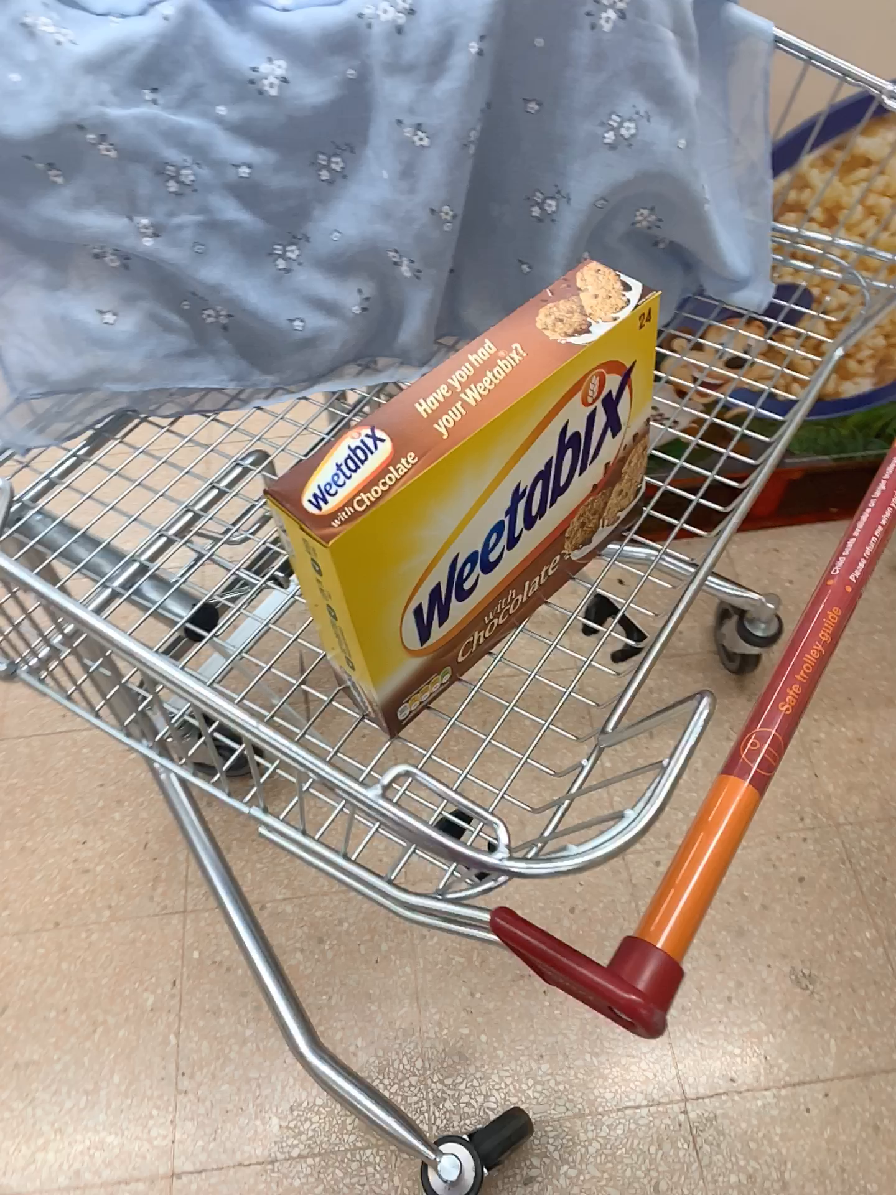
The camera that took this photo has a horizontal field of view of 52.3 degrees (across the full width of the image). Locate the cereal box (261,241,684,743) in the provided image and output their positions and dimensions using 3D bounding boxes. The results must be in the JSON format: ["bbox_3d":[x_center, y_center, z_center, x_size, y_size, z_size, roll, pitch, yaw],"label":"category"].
[{"bbox_3d":[0.027,-0.060,0.540,0.060,0.188,0.251,36,62,28],"label":"cereal box"}]
